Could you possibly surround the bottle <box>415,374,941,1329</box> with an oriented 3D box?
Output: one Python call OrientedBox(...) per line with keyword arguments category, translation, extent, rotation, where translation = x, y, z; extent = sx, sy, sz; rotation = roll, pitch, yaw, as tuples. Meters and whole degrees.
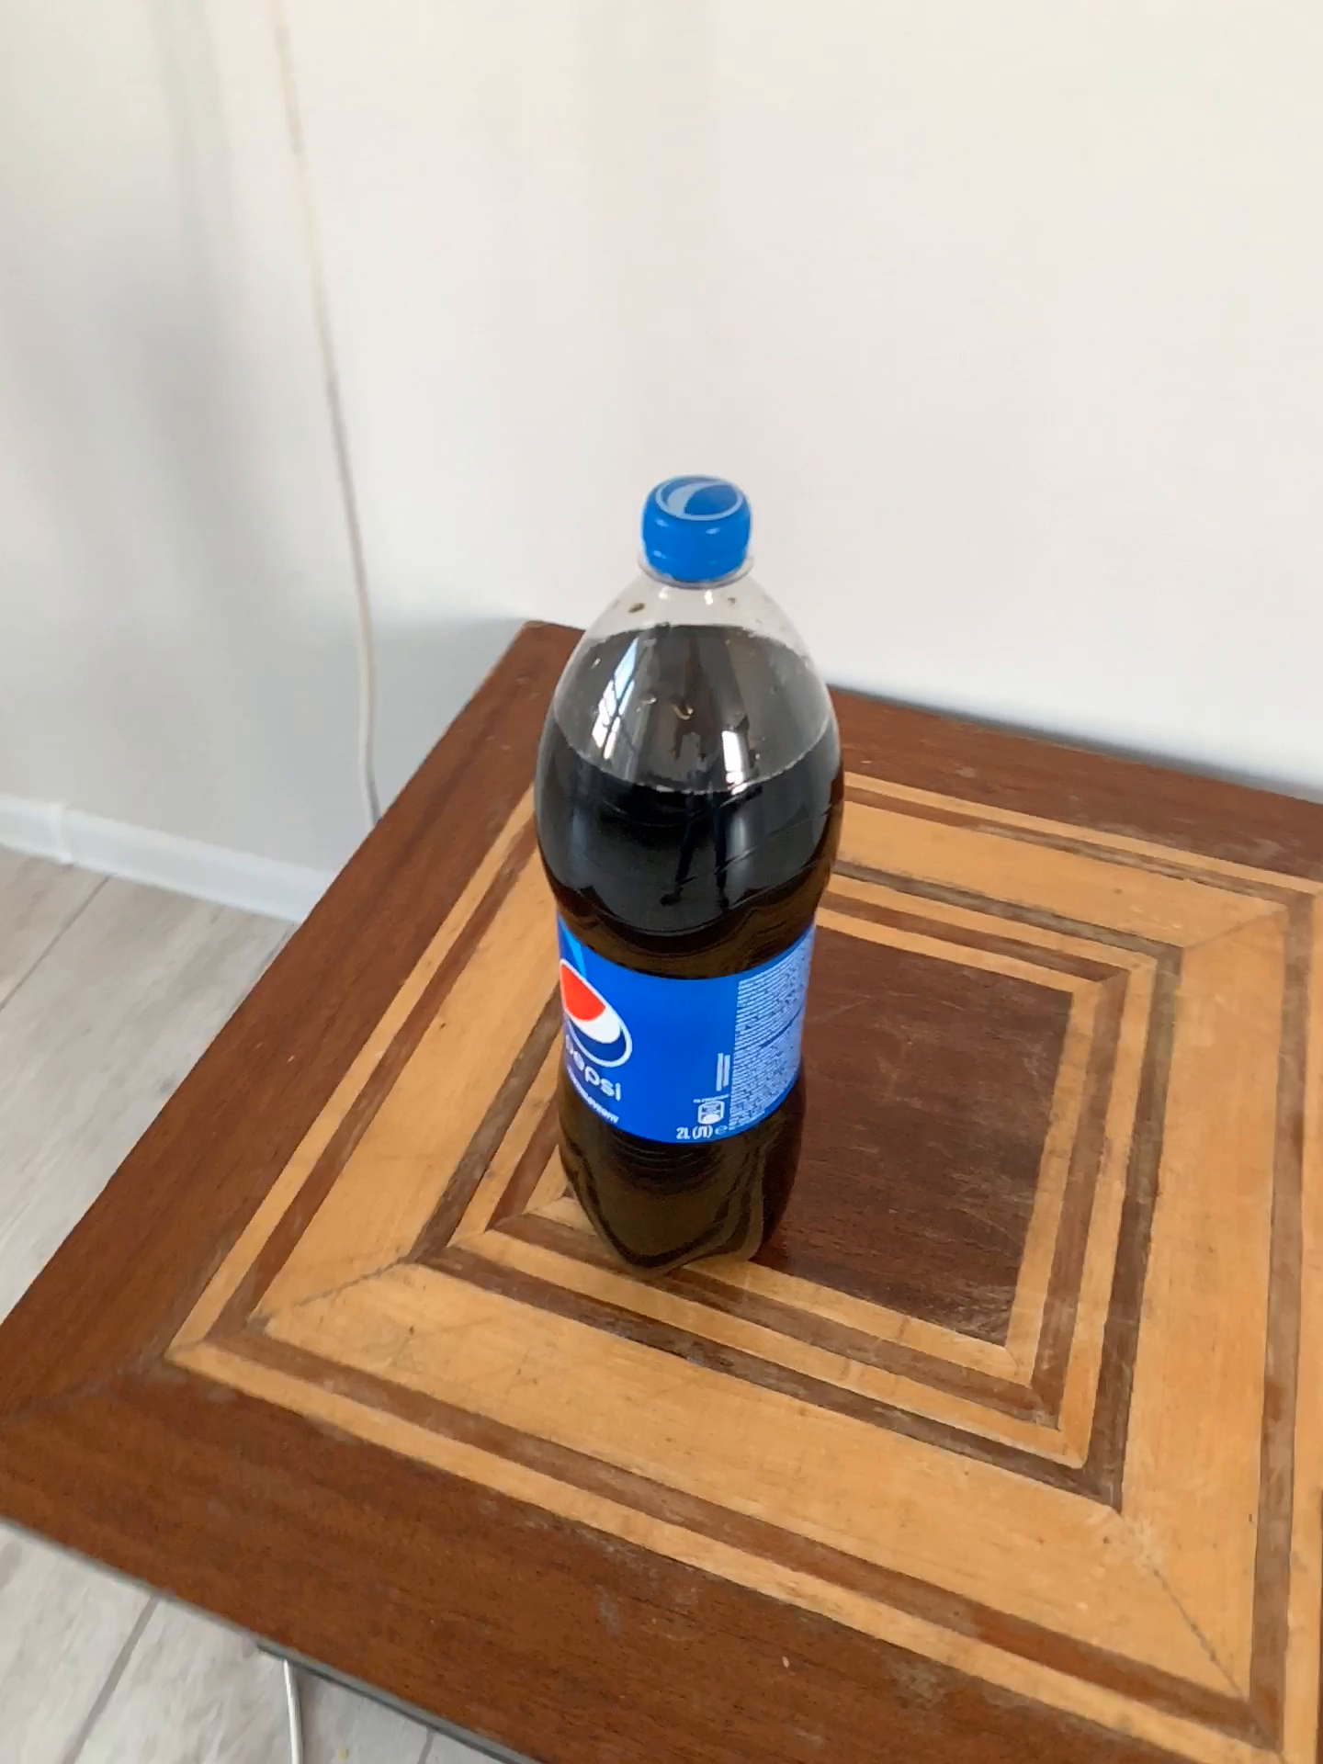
OrientedBox(category="bottle", translation=(0.004, 0.014, 0.484), extent=(0.100, 0.339, 0.100), rotation=(0, 45, 0))
